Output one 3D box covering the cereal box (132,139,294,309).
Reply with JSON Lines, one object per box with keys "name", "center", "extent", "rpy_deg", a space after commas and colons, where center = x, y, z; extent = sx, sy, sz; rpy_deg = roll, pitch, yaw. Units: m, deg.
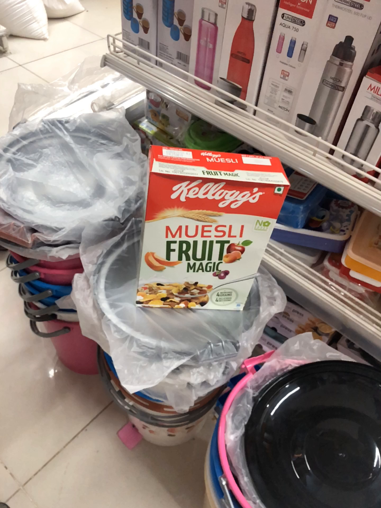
{"name": "cereal box", "center": [0.017, -0.031, 0.631], "extent": [0.190, 0.249, 0.070], "rpy_deg": [4, 42, -9]}
